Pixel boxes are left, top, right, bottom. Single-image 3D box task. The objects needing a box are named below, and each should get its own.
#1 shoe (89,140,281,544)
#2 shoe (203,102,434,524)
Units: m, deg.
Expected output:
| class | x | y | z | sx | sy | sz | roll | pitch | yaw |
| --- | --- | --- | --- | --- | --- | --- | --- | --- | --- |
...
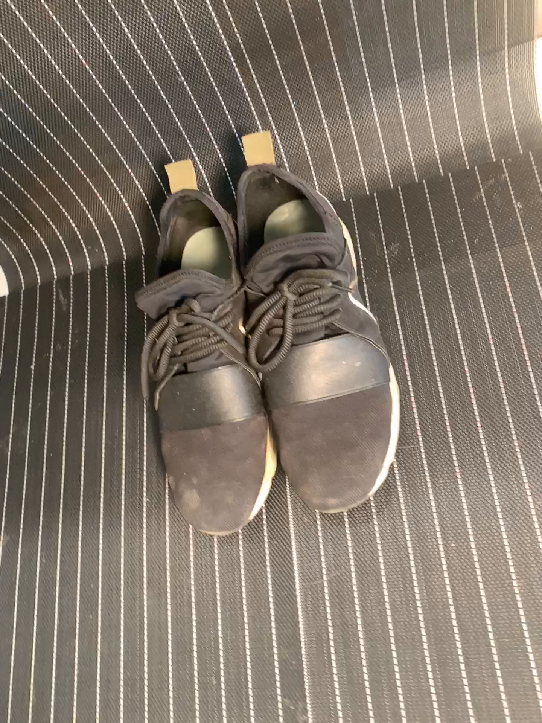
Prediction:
| class | x | y | z | sx | sy | sz | roll | pitch | yaw |
| --- | --- | --- | --- | --- | --- | --- | --- | --- | --- |
| shoe | -0.061 | -0.015 | 0.419 | 0.100 | 0.080 | 0.280 | -10 | 69 | 17 |
| shoe | 0.030 | -0.036 | 0.410 | 0.100 | 0.090 | 0.280 | -16 | 67 | 14 |
